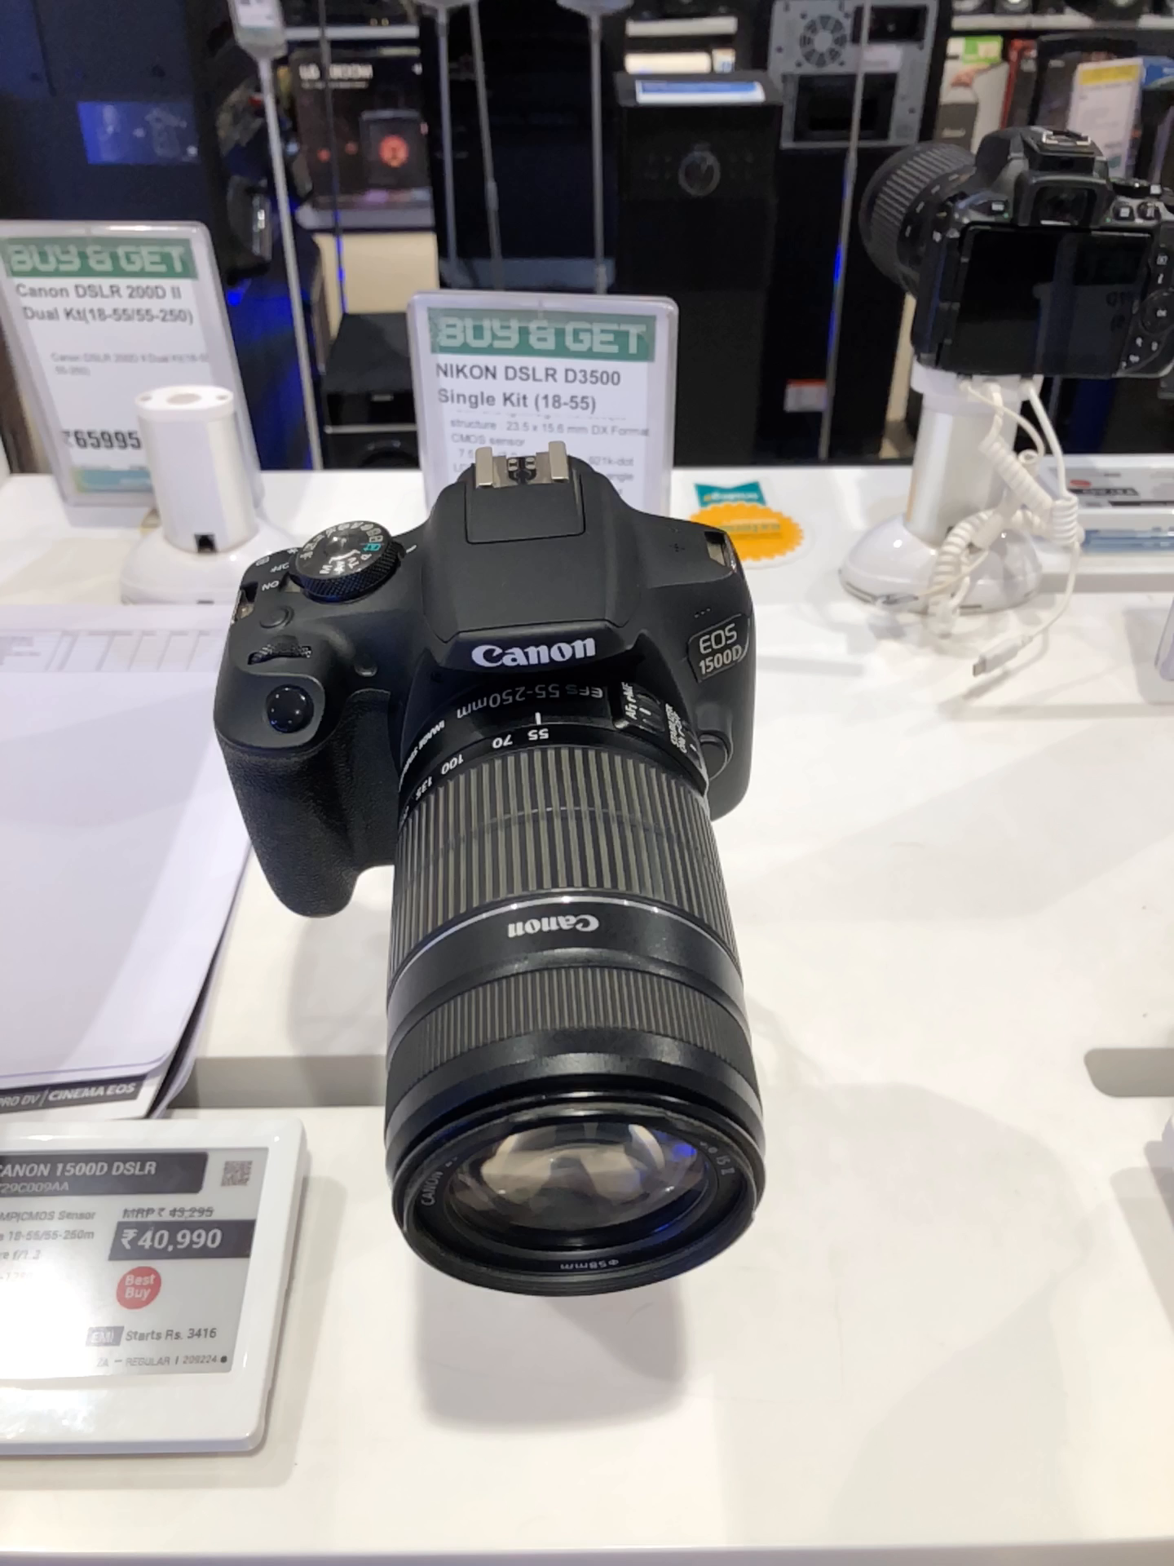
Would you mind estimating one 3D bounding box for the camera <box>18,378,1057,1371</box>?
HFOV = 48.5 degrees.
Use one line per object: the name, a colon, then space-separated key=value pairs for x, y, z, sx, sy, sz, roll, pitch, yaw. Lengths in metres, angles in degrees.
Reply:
camera: x=-0.016 y=-0.002 z=0.281 sx=0.140 sy=0.089 sz=0.201 roll=-5 pitch=39 yaw=-5
